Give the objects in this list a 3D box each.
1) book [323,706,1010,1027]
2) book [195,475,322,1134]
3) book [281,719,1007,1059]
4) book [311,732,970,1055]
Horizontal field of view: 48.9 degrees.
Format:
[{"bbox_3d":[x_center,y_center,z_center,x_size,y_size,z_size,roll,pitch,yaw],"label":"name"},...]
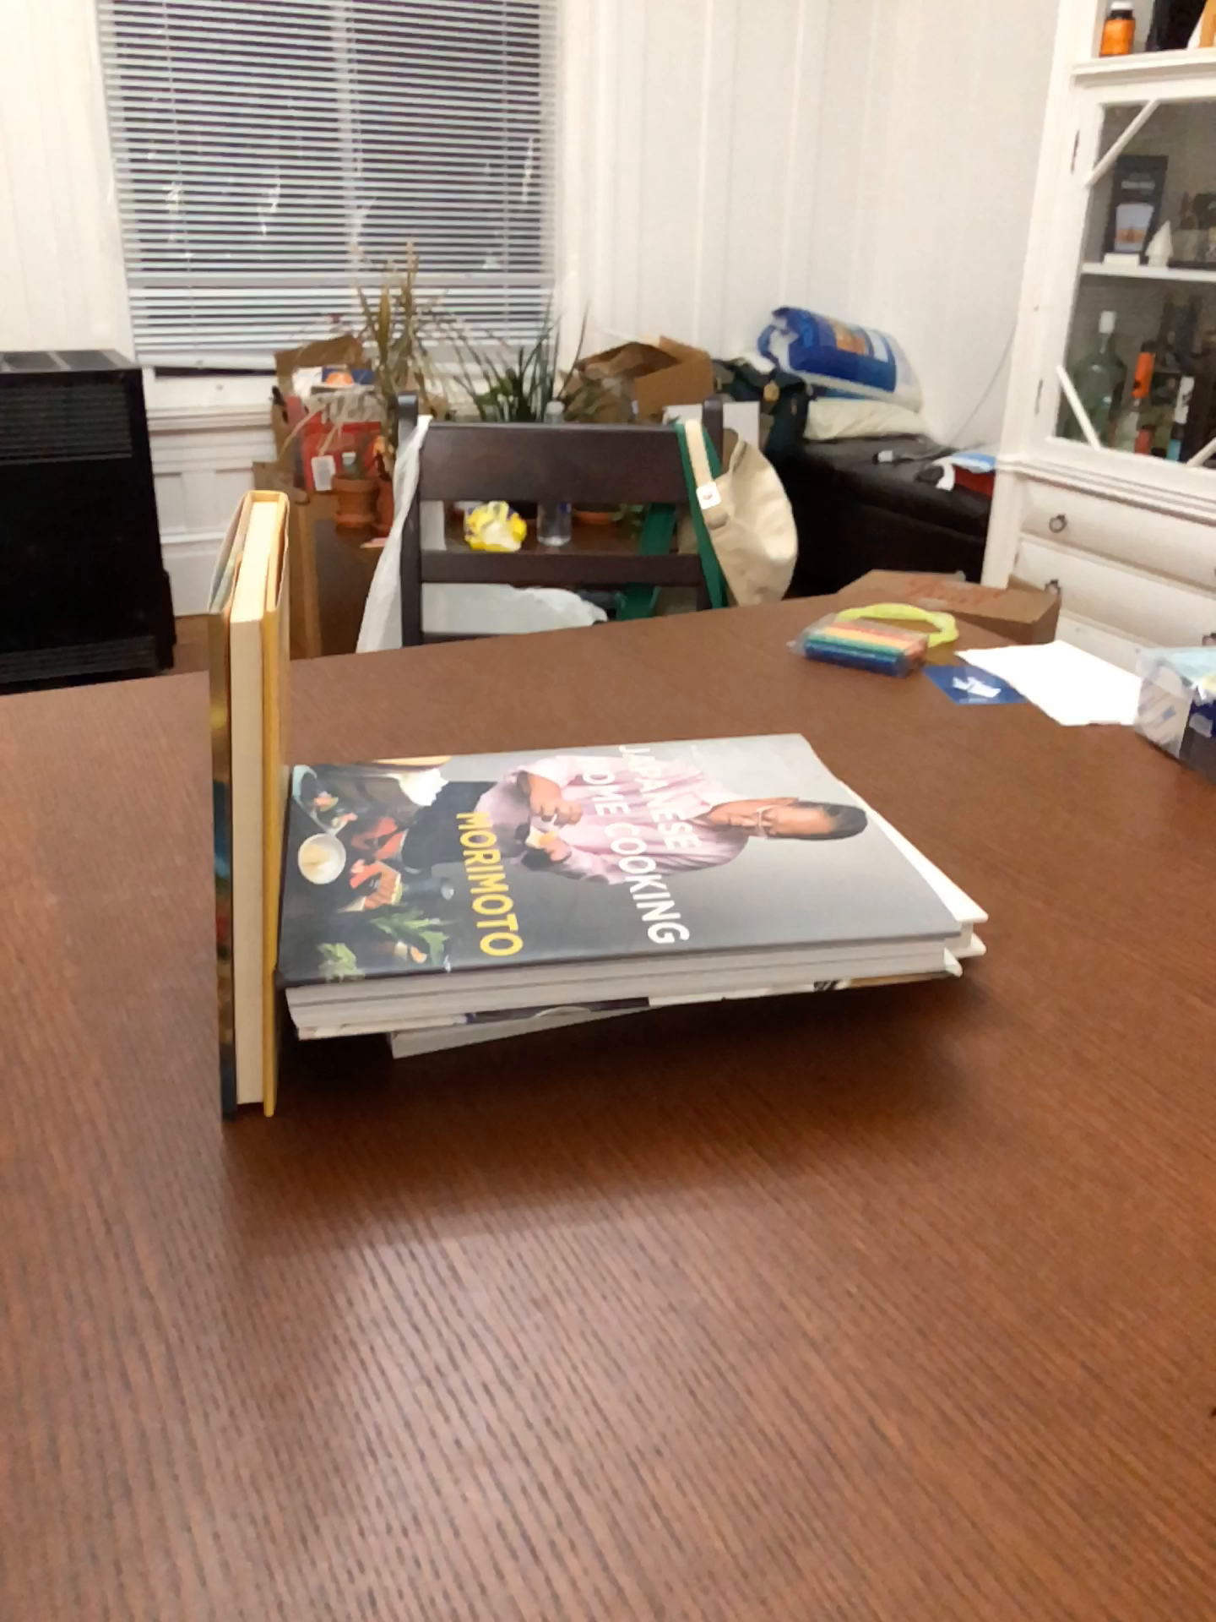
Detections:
[{"bbox_3d":[0.014,0.012,0.663,0.280,0.030,0.221,-7,25,-16],"label":"book"},{"bbox_3d":[-0.142,-0.016,0.569,0.030,0.209,0.211,-1,25,-10],"label":"book"},{"bbox_3d":[-0.002,0.020,0.606,0.280,0.030,0.221,-5,25,-11],"label":"book"},{"bbox_3d":[0.004,0.027,0.696,0.280,0.030,0.221,-8,26,-18],"label":"book"}]
